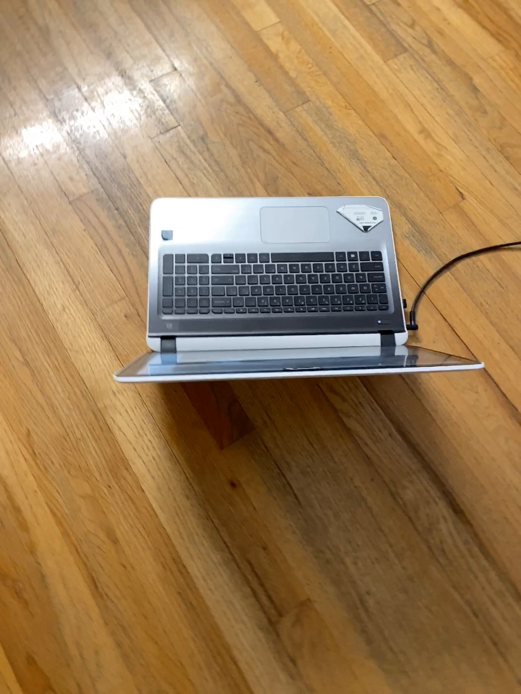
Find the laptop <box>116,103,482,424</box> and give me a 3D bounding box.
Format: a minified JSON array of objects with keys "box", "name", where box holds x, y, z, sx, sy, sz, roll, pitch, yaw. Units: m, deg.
[{"box":[0.029,-0.104,0.695,0.371,0.202,0.364,-2,69,-4],"name":"laptop"}]
